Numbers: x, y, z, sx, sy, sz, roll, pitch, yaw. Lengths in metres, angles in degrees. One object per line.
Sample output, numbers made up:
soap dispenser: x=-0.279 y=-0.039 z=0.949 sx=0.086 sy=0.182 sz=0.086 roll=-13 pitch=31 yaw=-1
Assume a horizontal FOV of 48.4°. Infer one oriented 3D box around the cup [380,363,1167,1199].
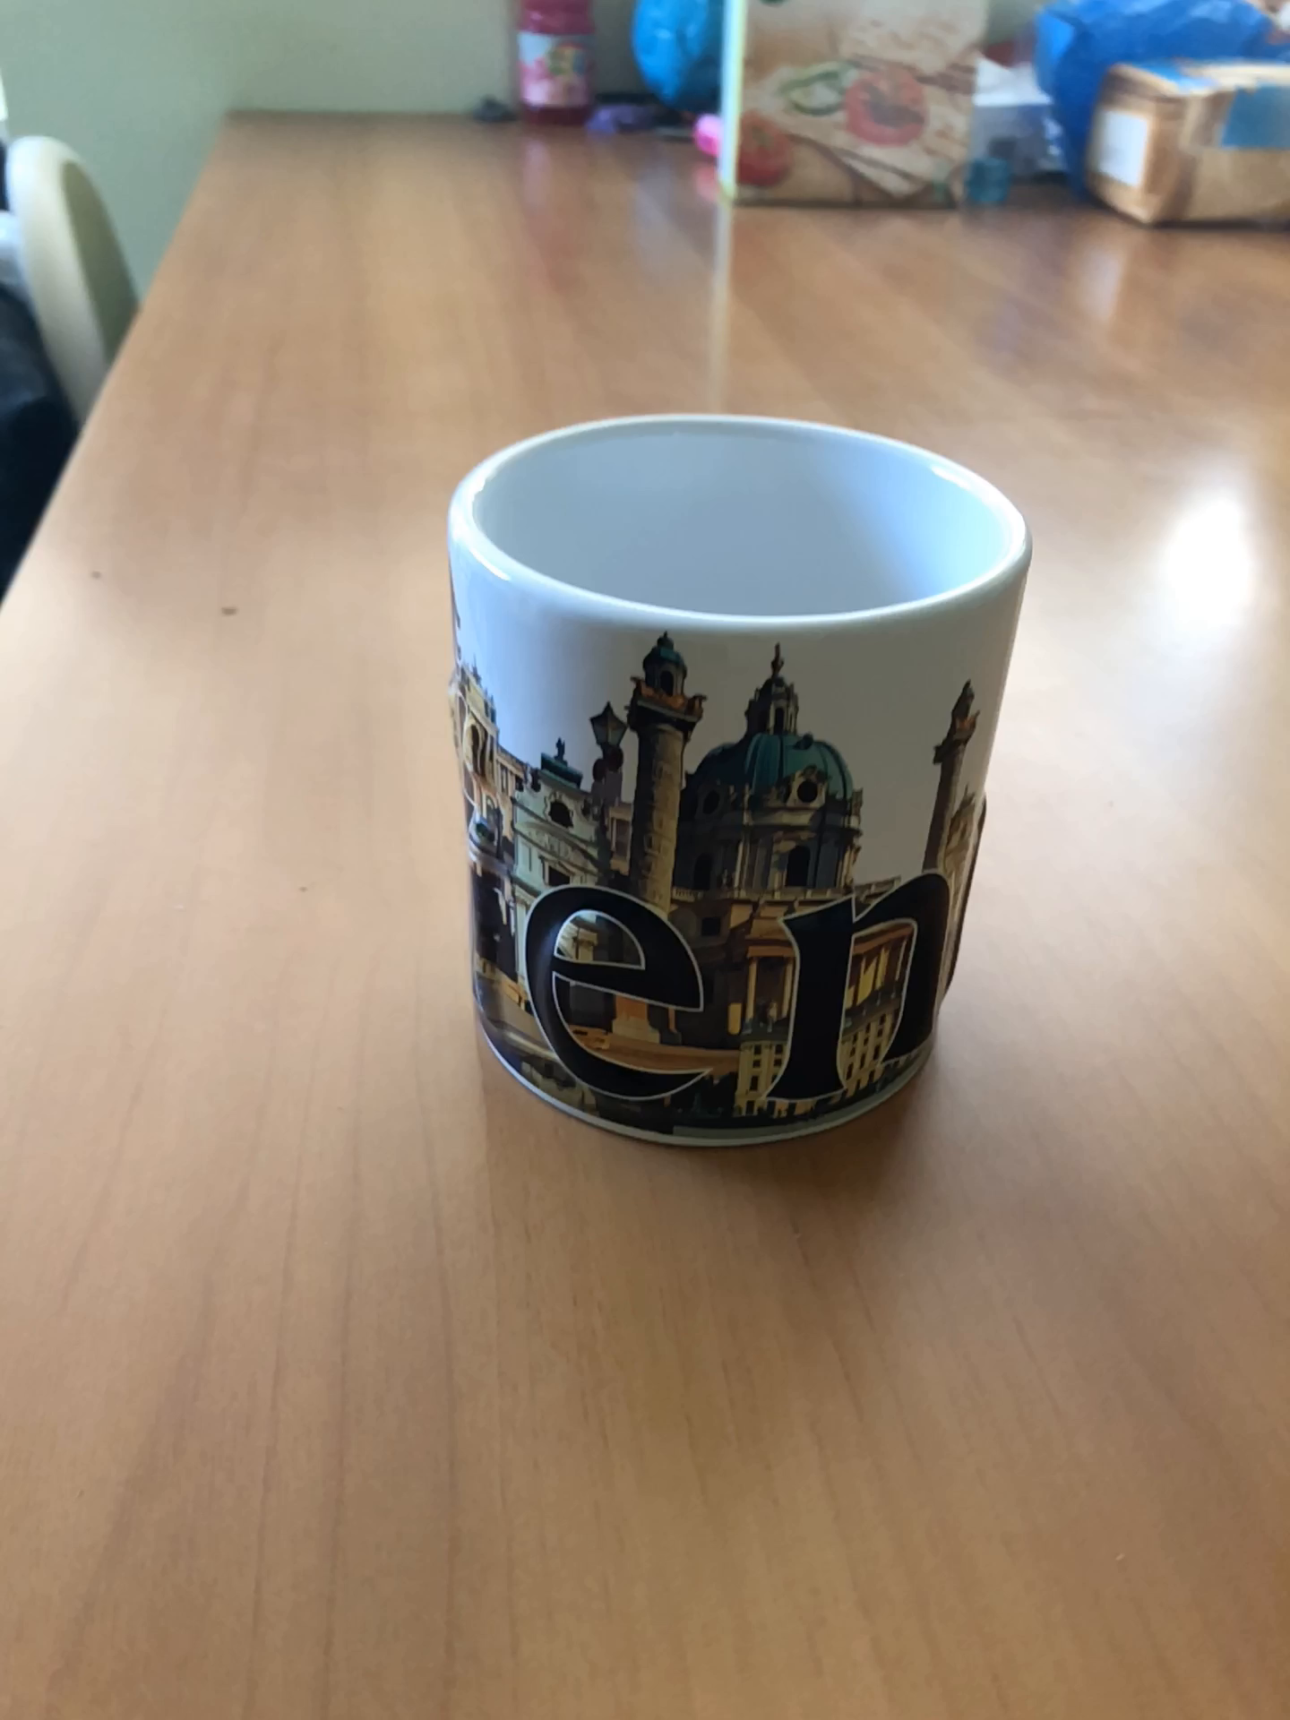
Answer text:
cup: x=0.008 y=-0.029 z=0.294 sx=0.110 sy=0.099 sz=0.151 roll=-5 pitch=35 yaw=-10
